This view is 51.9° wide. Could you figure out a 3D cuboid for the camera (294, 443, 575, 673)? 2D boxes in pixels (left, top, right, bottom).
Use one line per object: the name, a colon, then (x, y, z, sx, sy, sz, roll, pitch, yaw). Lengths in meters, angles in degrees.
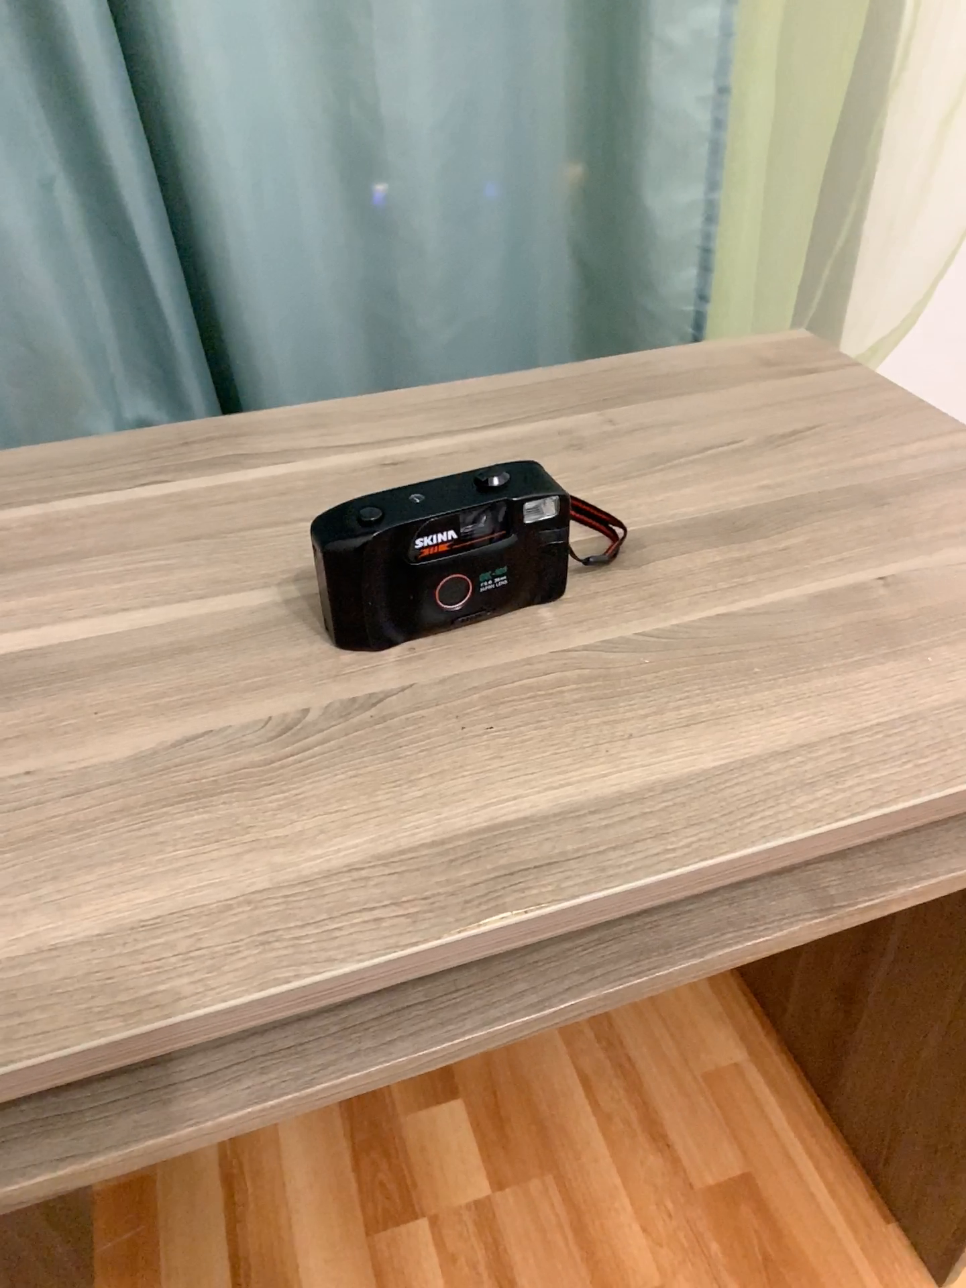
camera: (-0.021, -0.043, 0.472, 0.120, 0.069, 0.046, -16, 38, -21)
